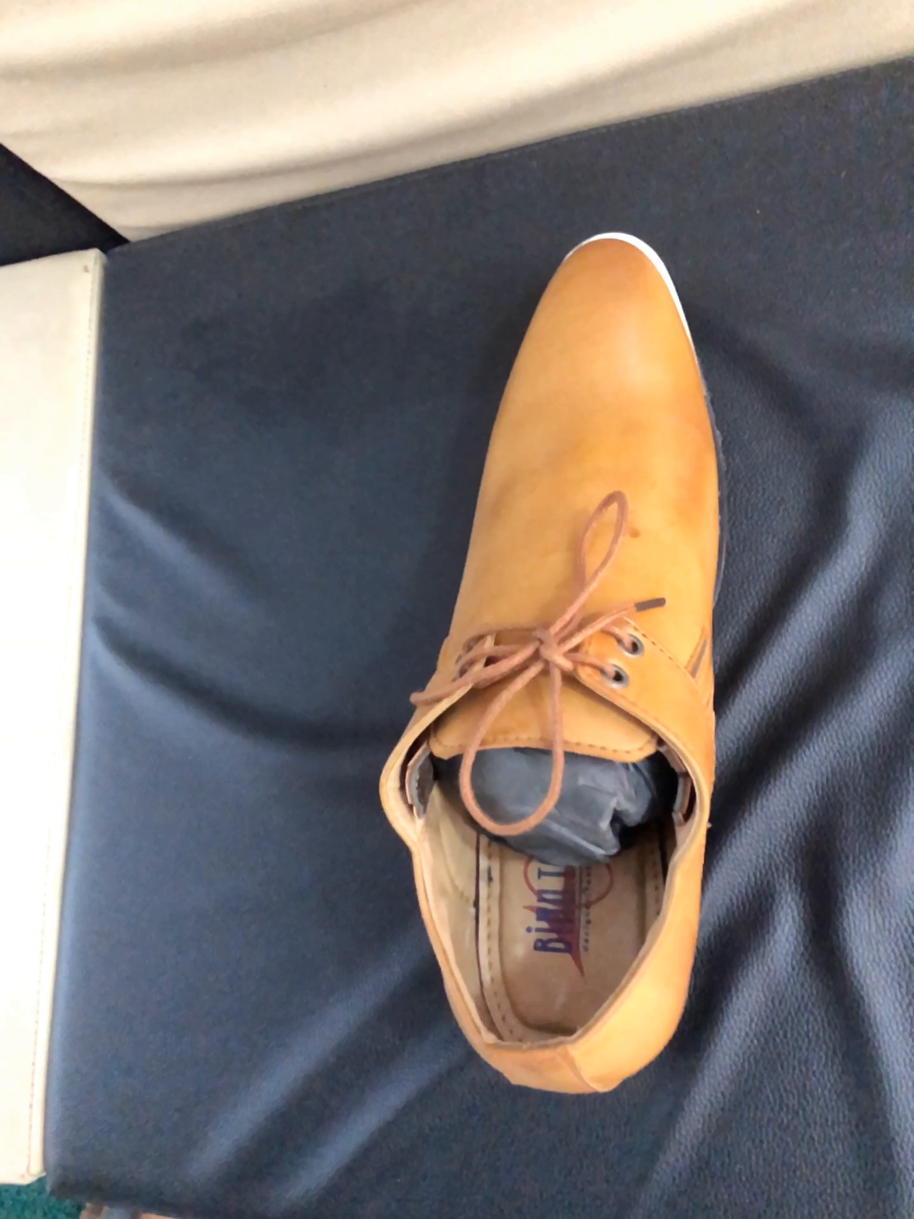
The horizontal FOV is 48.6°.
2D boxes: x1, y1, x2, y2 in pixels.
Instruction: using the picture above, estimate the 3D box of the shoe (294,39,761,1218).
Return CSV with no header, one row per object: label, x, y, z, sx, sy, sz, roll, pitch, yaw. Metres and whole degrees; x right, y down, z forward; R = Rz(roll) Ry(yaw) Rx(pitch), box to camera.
shoe,0.034,0.000,0.319,0.110,0.100,0.300,-1,80,21
